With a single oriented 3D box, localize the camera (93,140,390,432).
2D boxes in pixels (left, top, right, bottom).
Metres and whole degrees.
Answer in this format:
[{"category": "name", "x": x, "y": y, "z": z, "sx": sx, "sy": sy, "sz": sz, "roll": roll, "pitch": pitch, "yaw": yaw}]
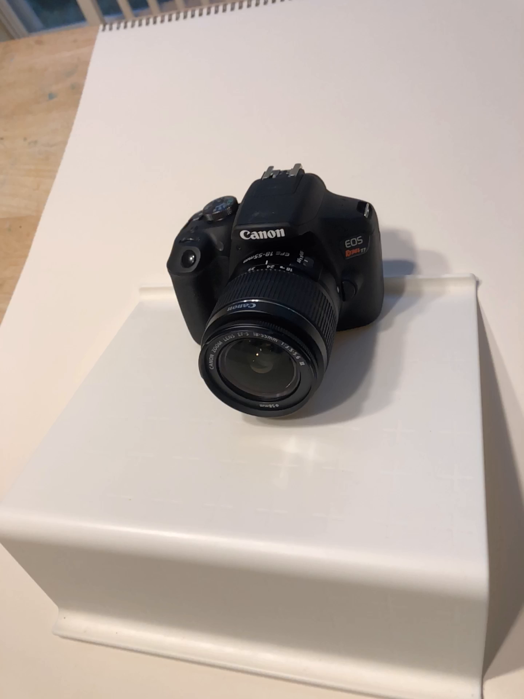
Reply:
[{"category": "camera", "x": 0.005, "y": -0.042, "z": 0.344, "sx": 0.125, "sy": 0.104, "sz": 0.140, "roll": 1, "pitch": 38, "yaw": 17}]
